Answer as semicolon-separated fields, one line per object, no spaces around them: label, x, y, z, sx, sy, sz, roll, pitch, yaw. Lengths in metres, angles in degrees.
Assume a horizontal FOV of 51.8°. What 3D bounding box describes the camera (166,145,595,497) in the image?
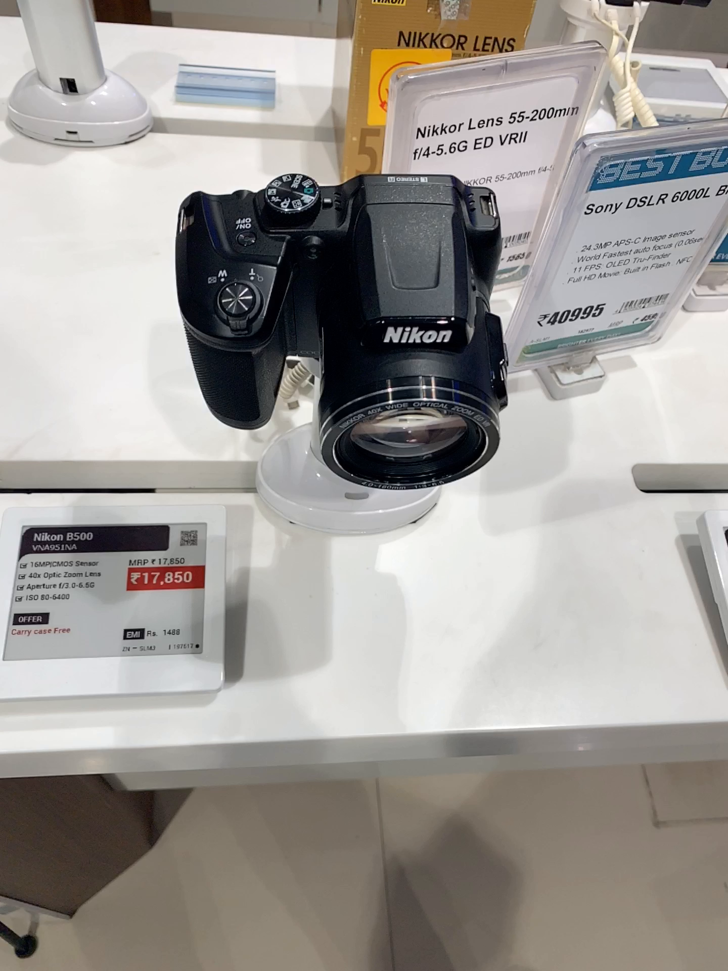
camera;0.000;-0.049;0.245;0.113;0.070;0.084;0;63;-7
